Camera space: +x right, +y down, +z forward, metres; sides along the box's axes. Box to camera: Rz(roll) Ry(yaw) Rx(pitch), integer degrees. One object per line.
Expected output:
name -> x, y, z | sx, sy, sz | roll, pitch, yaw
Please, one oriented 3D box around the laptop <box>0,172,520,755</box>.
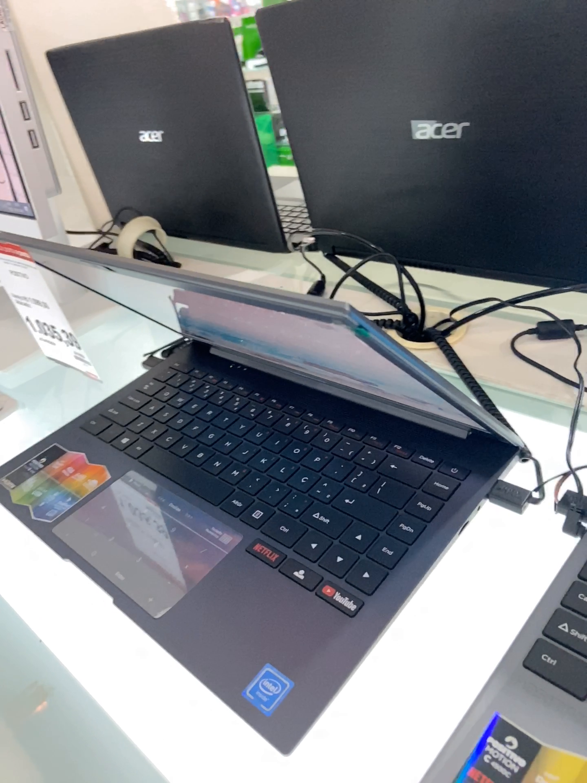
laptop -> -0.068, -0.013, 0.385 | 0.335, 0.163, 0.222 | 19, 46, 40
